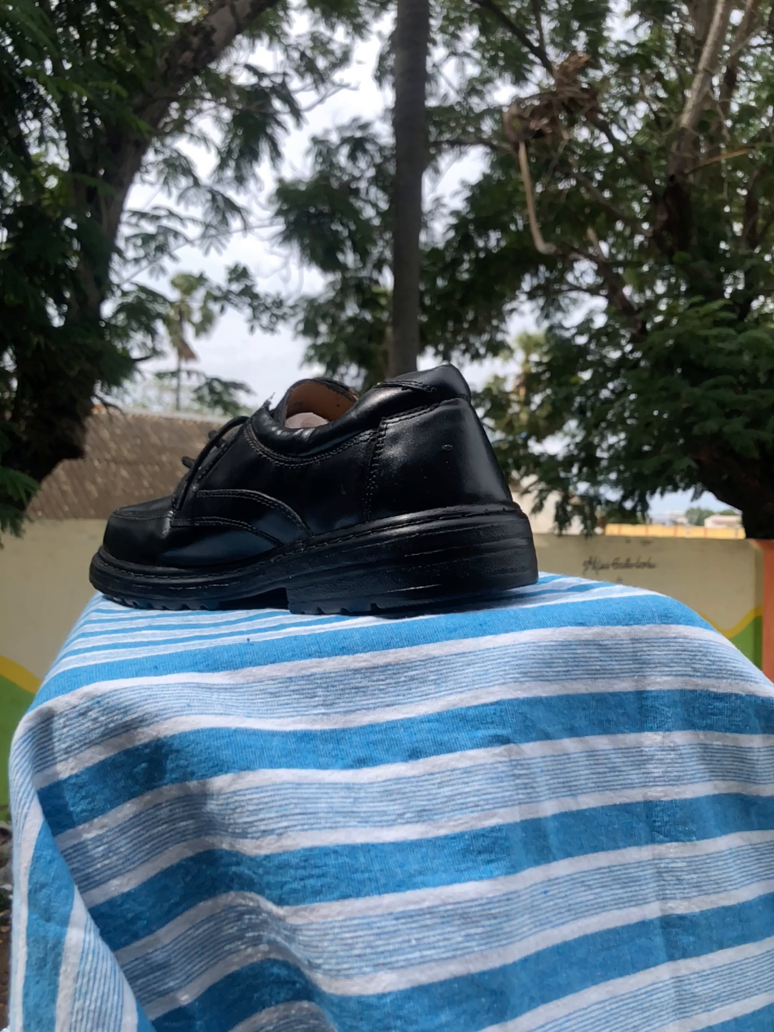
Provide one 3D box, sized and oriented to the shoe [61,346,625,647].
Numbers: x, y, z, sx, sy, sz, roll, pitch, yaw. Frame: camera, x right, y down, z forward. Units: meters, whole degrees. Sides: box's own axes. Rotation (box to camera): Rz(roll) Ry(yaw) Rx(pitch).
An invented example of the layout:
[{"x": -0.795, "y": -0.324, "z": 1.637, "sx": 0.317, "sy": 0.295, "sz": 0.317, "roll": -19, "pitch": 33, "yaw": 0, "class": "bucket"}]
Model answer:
[{"x": -0.042, "y": -0.011, "z": 0.426, "sx": 0.289, "sy": 0.100, "sz": 0.110, "roll": 1, "pitch": 3, "yaw": 45, "class": "shoe"}]
